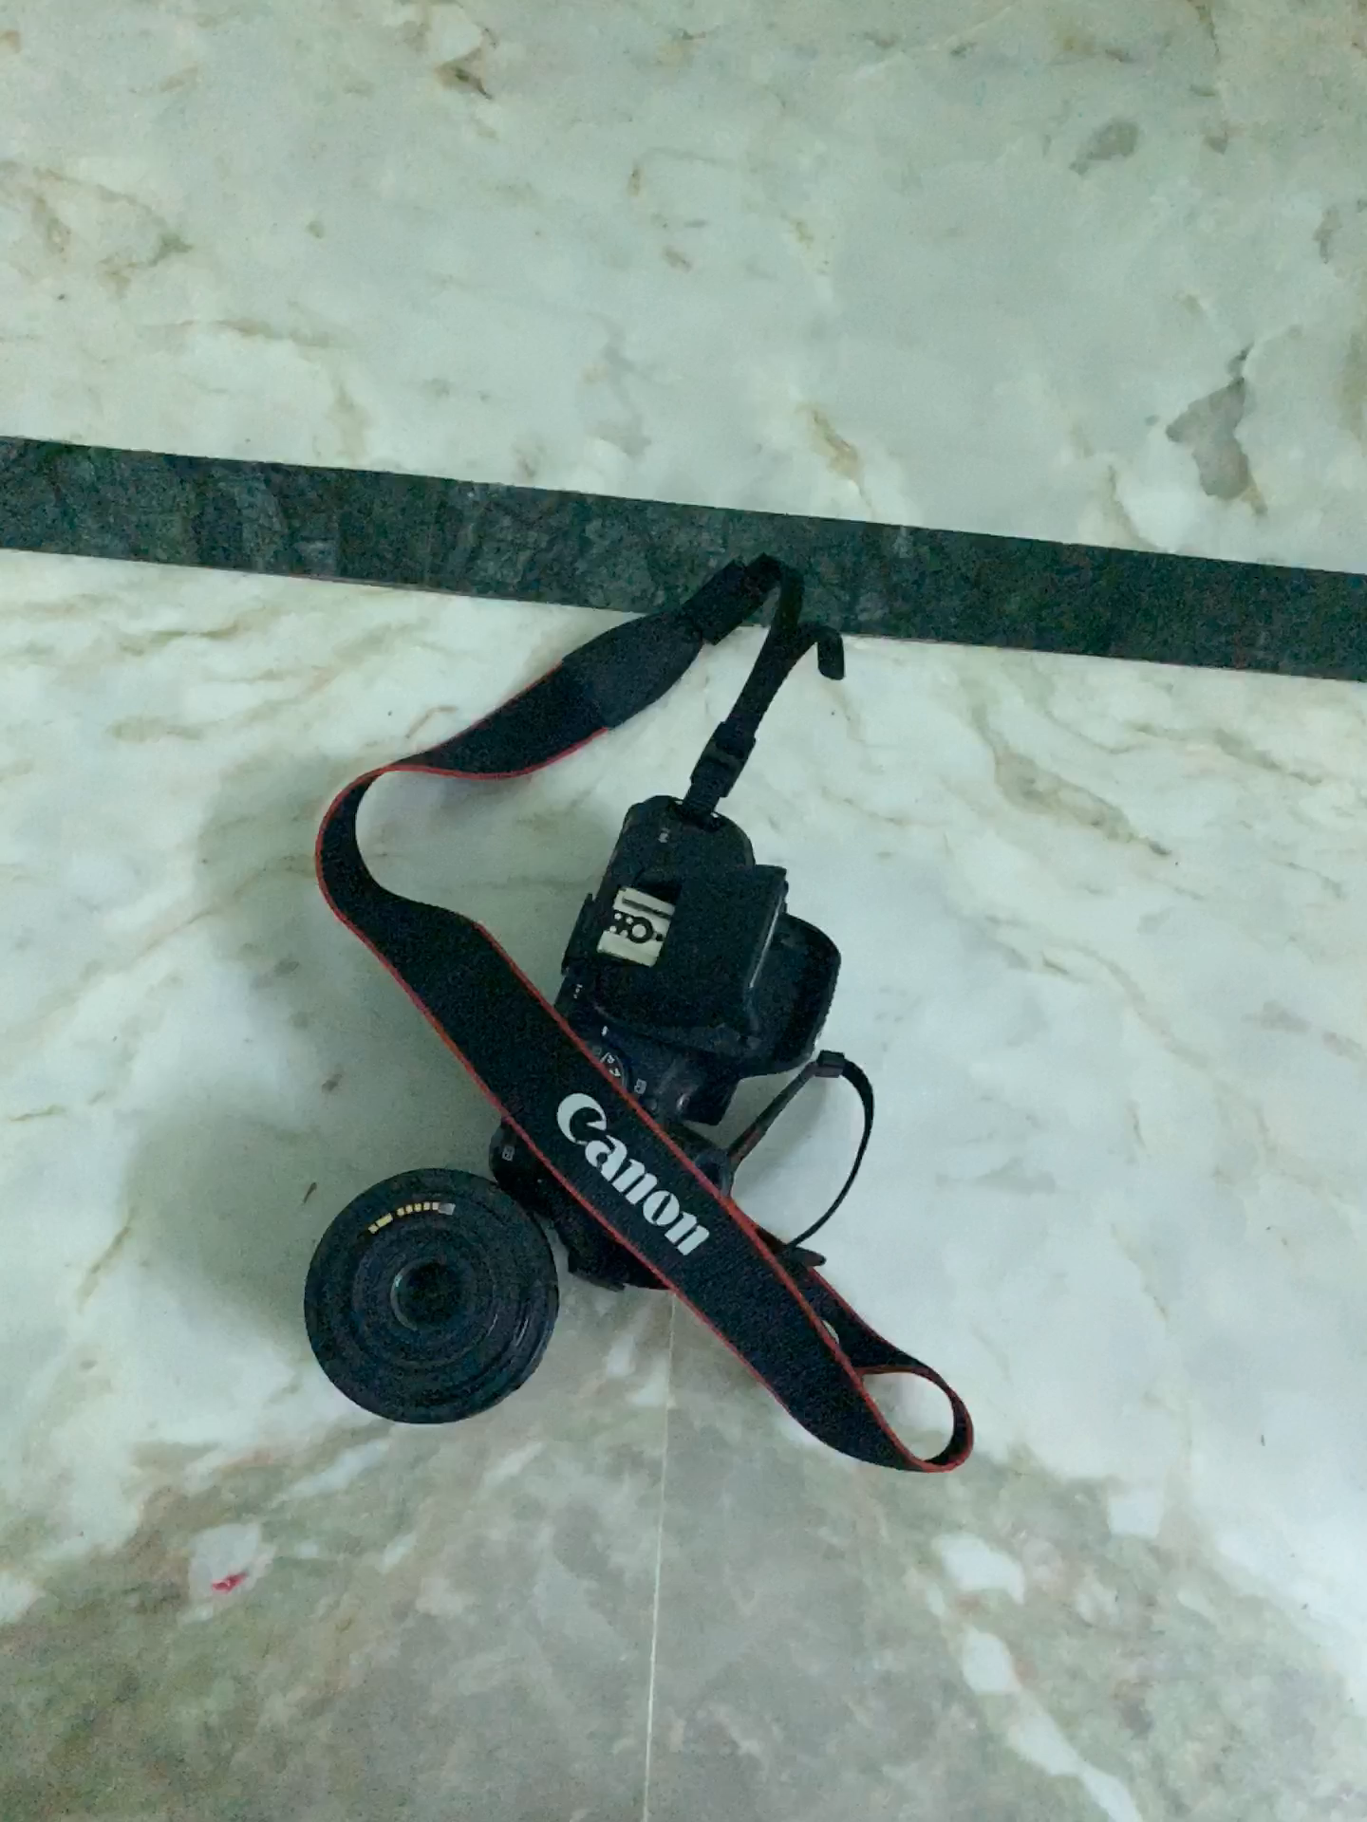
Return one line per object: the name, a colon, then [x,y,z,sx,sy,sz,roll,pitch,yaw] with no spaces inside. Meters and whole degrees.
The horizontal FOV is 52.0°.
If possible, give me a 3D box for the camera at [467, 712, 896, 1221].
camera: [-0.002,0.020,0.409,0.082,0.078,0.112,20,73,1]
